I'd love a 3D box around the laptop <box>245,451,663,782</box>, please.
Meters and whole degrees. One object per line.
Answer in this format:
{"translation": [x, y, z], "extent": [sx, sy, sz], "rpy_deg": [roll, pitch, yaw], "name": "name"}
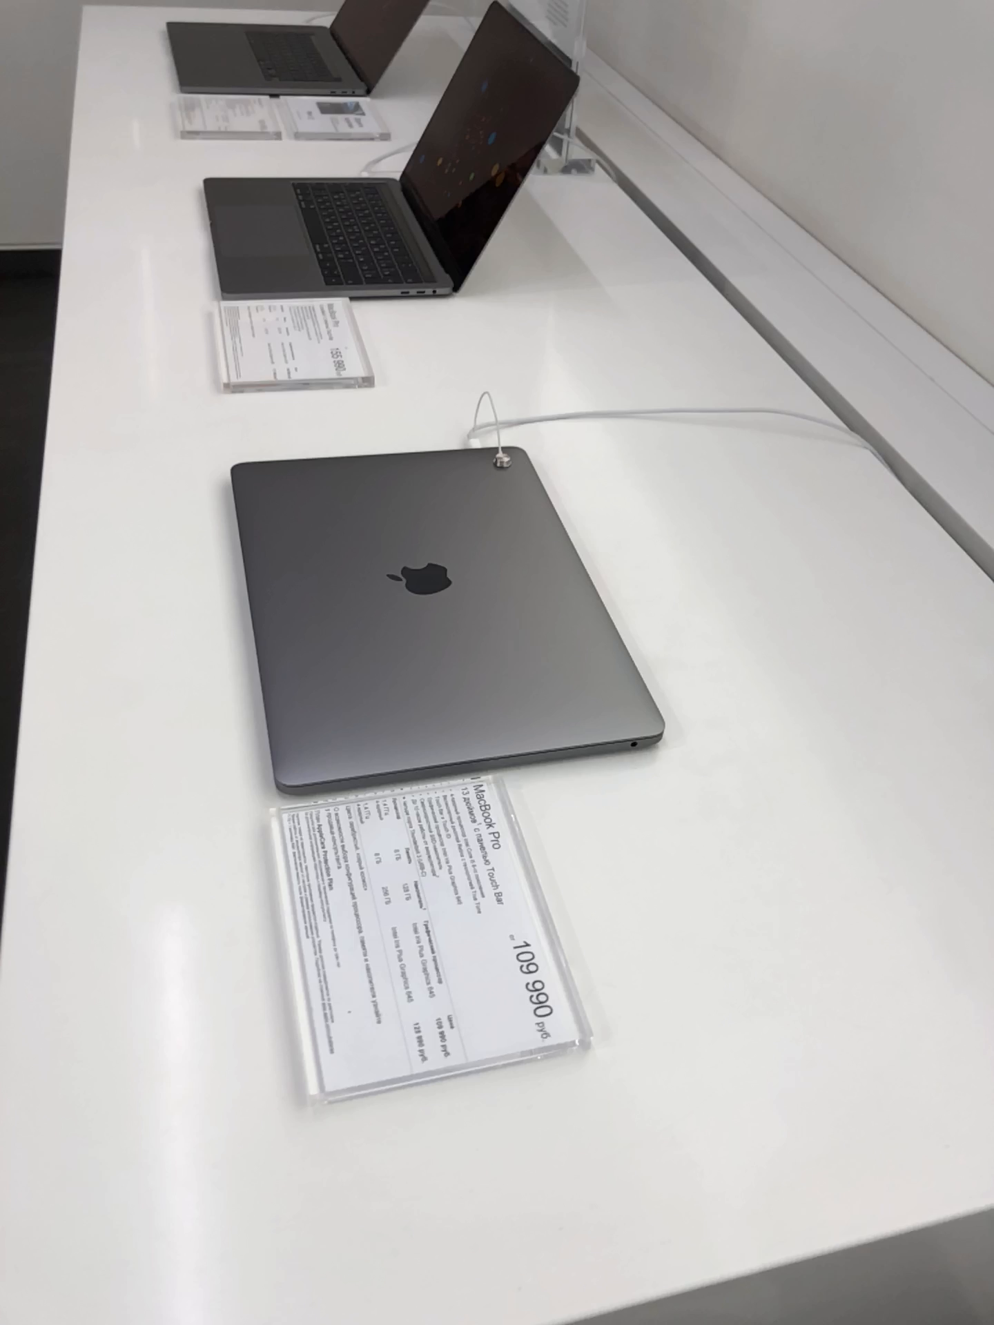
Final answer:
{"translation": [-0.042, -0.048, 0.667], "extent": [0.198, 0.001, 0.294], "rpy_deg": [-6, 42, -13], "name": "laptop"}
